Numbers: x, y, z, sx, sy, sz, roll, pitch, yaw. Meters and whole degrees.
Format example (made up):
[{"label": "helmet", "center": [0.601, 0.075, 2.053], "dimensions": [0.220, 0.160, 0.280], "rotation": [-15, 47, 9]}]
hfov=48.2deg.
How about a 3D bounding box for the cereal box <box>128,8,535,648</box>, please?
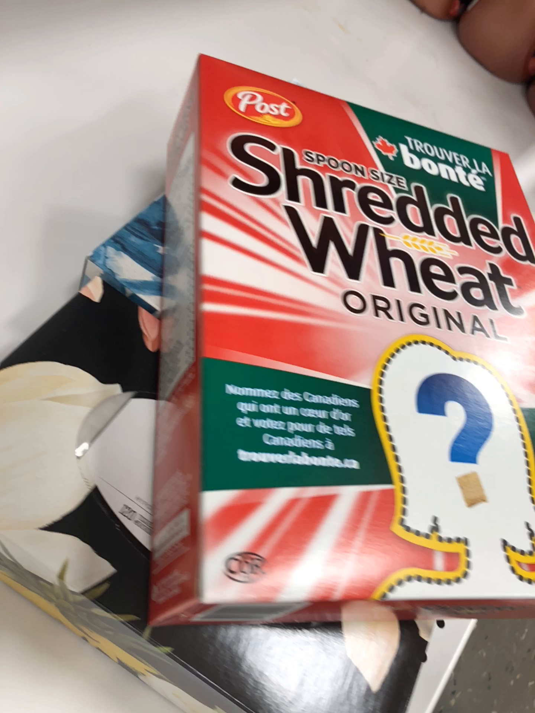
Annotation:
[{"label": "cereal box", "center": [0.064, -0.022, 0.286], "dimensions": [0.230, 0.060, 0.280], "rotation": [9, 57, -19]}]
